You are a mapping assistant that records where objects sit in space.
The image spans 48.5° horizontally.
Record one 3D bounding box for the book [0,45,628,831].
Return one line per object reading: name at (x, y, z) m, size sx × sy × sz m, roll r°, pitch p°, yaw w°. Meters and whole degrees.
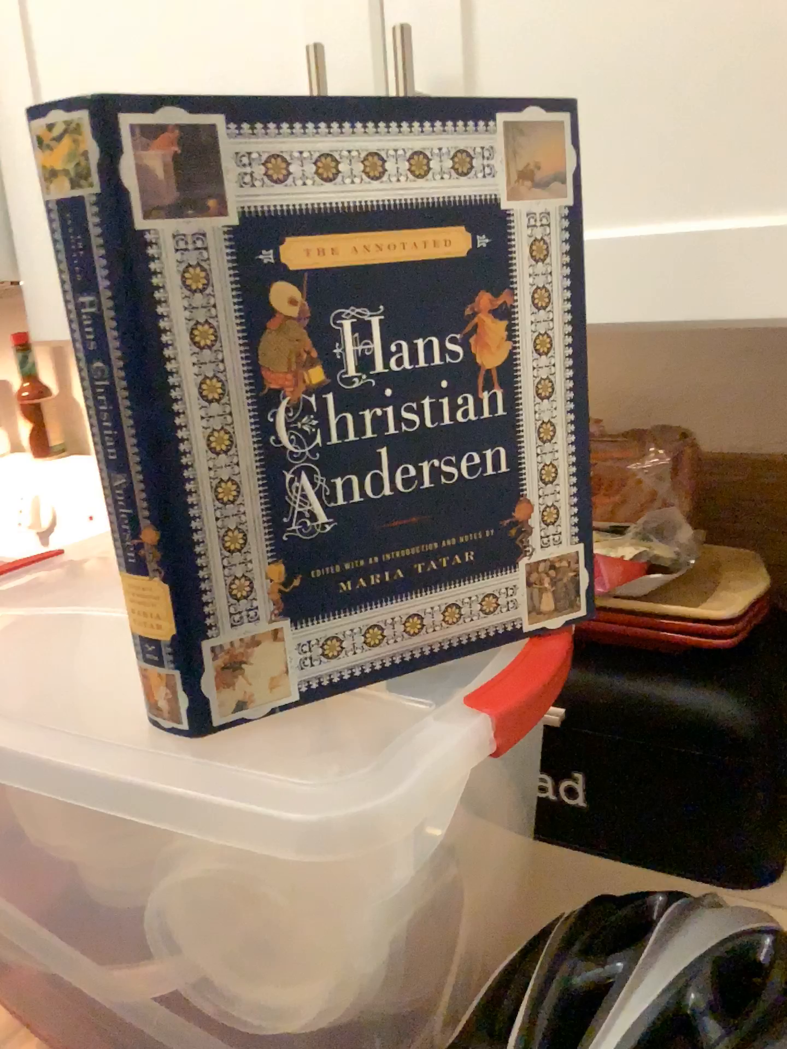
book at (-0.035, -0.059, 0.436) m, size 0.200 × 0.260 × 0.250 m, roll 11°, pitch 23°, yaw 38°
